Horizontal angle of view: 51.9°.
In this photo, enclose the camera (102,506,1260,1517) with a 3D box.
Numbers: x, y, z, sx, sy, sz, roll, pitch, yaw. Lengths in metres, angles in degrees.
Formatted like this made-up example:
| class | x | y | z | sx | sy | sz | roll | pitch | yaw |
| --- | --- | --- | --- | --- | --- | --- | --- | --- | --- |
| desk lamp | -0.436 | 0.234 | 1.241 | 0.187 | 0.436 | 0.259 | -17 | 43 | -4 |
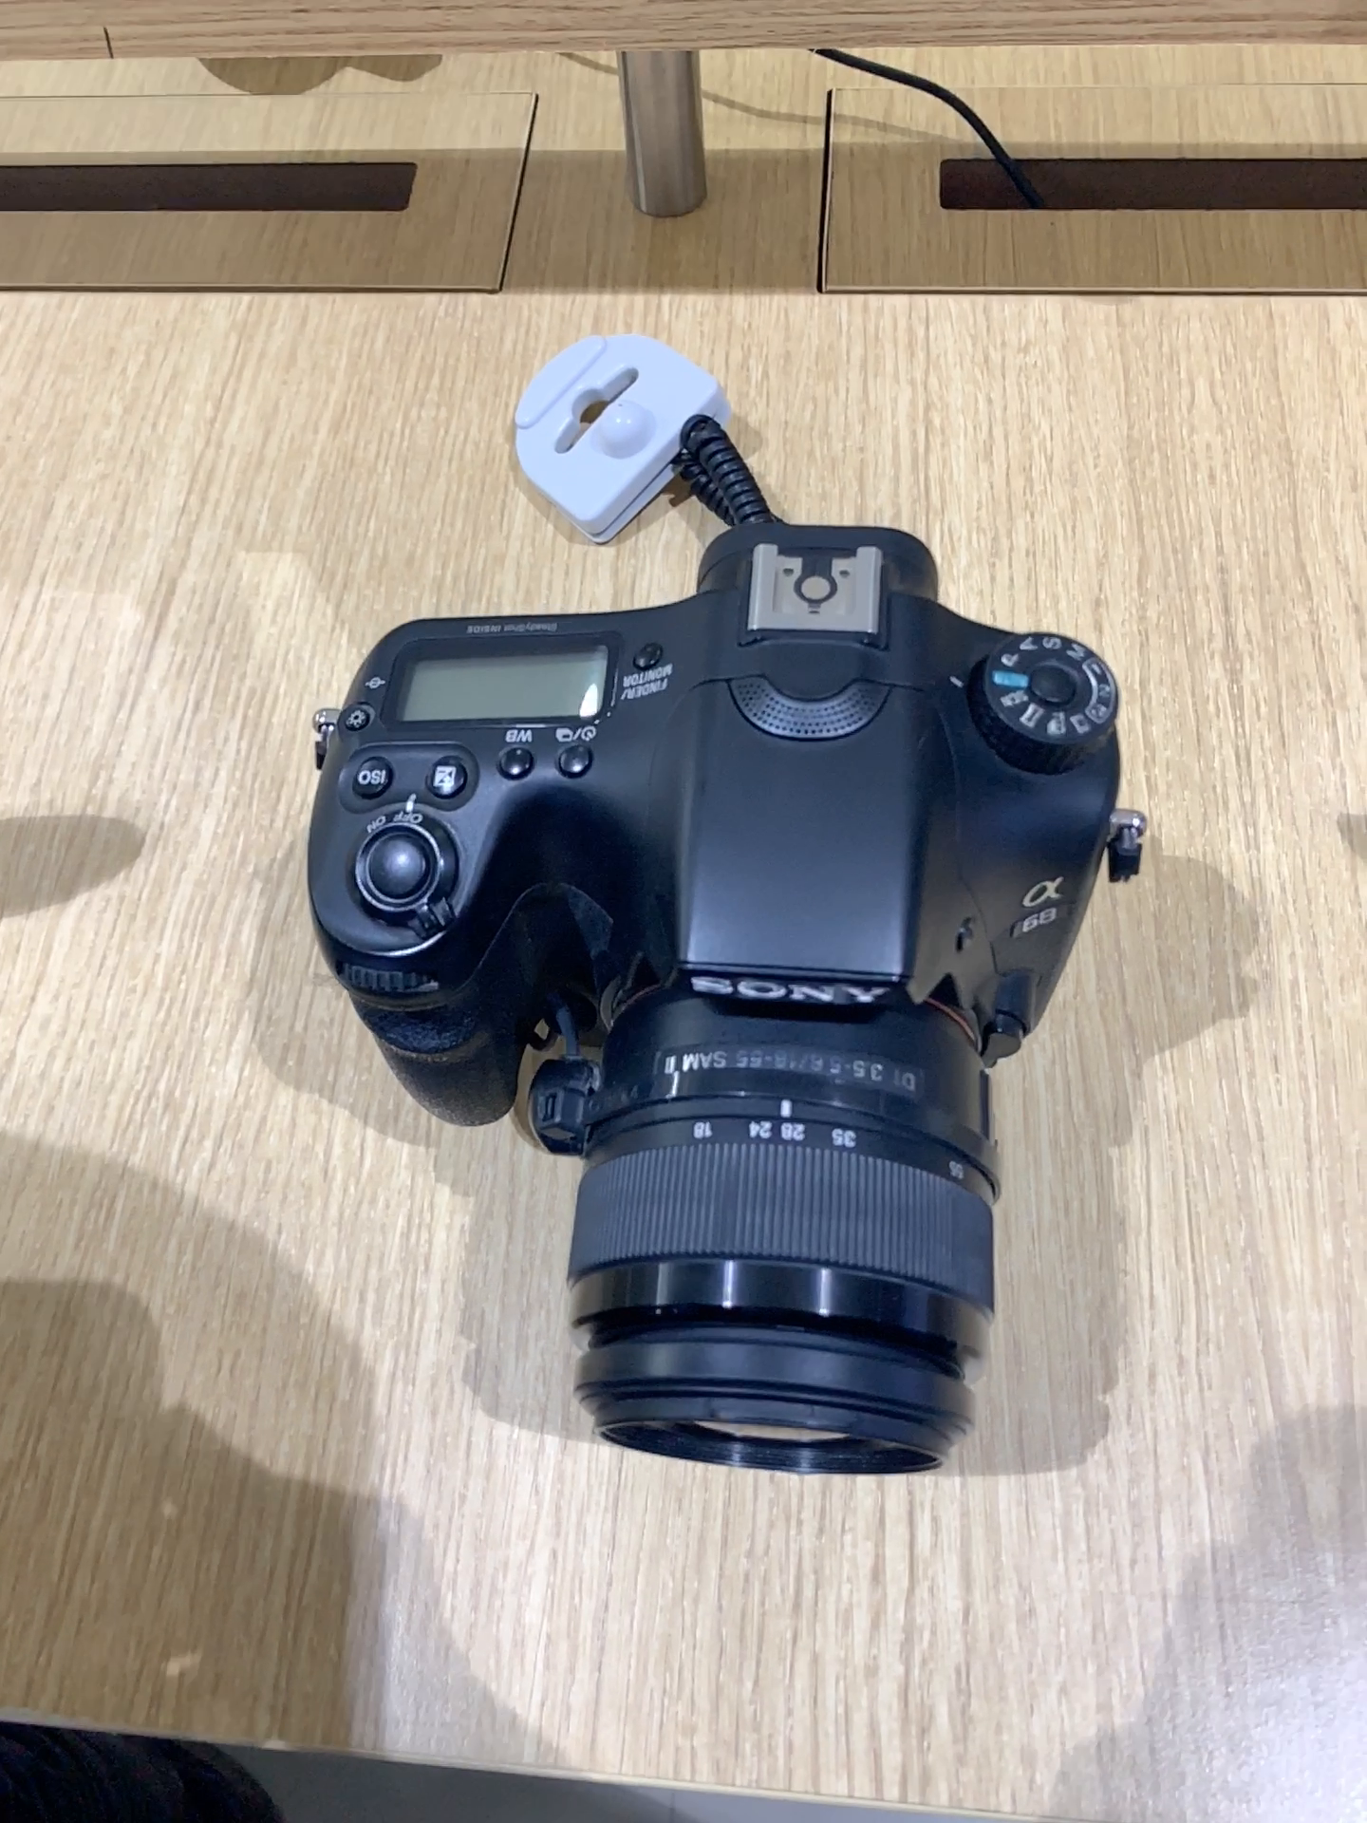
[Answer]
| class | x | y | z | sx | sy | sz | roll | pitch | yaw |
| --- | --- | --- | --- | --- | --- | --- | --- | --- | --- |
| camera | 0.004 | 0.020 | 0.232 | 0.130 | 0.100 | 0.134 | 1 | 64 | 5 |
